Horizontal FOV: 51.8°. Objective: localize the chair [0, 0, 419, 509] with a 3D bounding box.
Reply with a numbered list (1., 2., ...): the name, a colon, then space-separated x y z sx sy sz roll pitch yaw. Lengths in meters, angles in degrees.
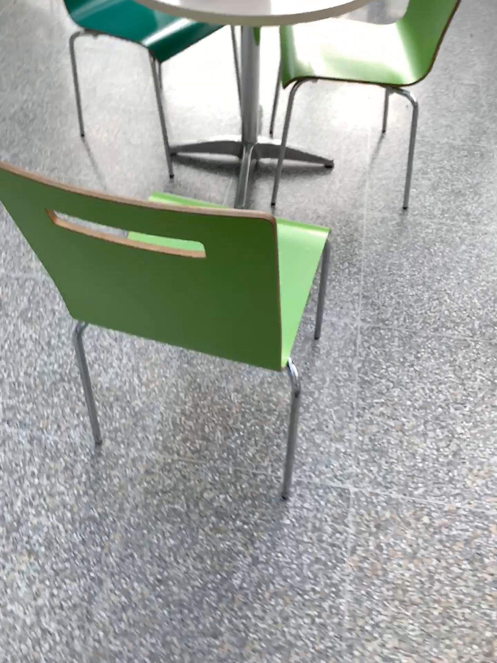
1. chair: -0.068 -0.113 1.033 0.540 0.833 0.534 13 54 9
